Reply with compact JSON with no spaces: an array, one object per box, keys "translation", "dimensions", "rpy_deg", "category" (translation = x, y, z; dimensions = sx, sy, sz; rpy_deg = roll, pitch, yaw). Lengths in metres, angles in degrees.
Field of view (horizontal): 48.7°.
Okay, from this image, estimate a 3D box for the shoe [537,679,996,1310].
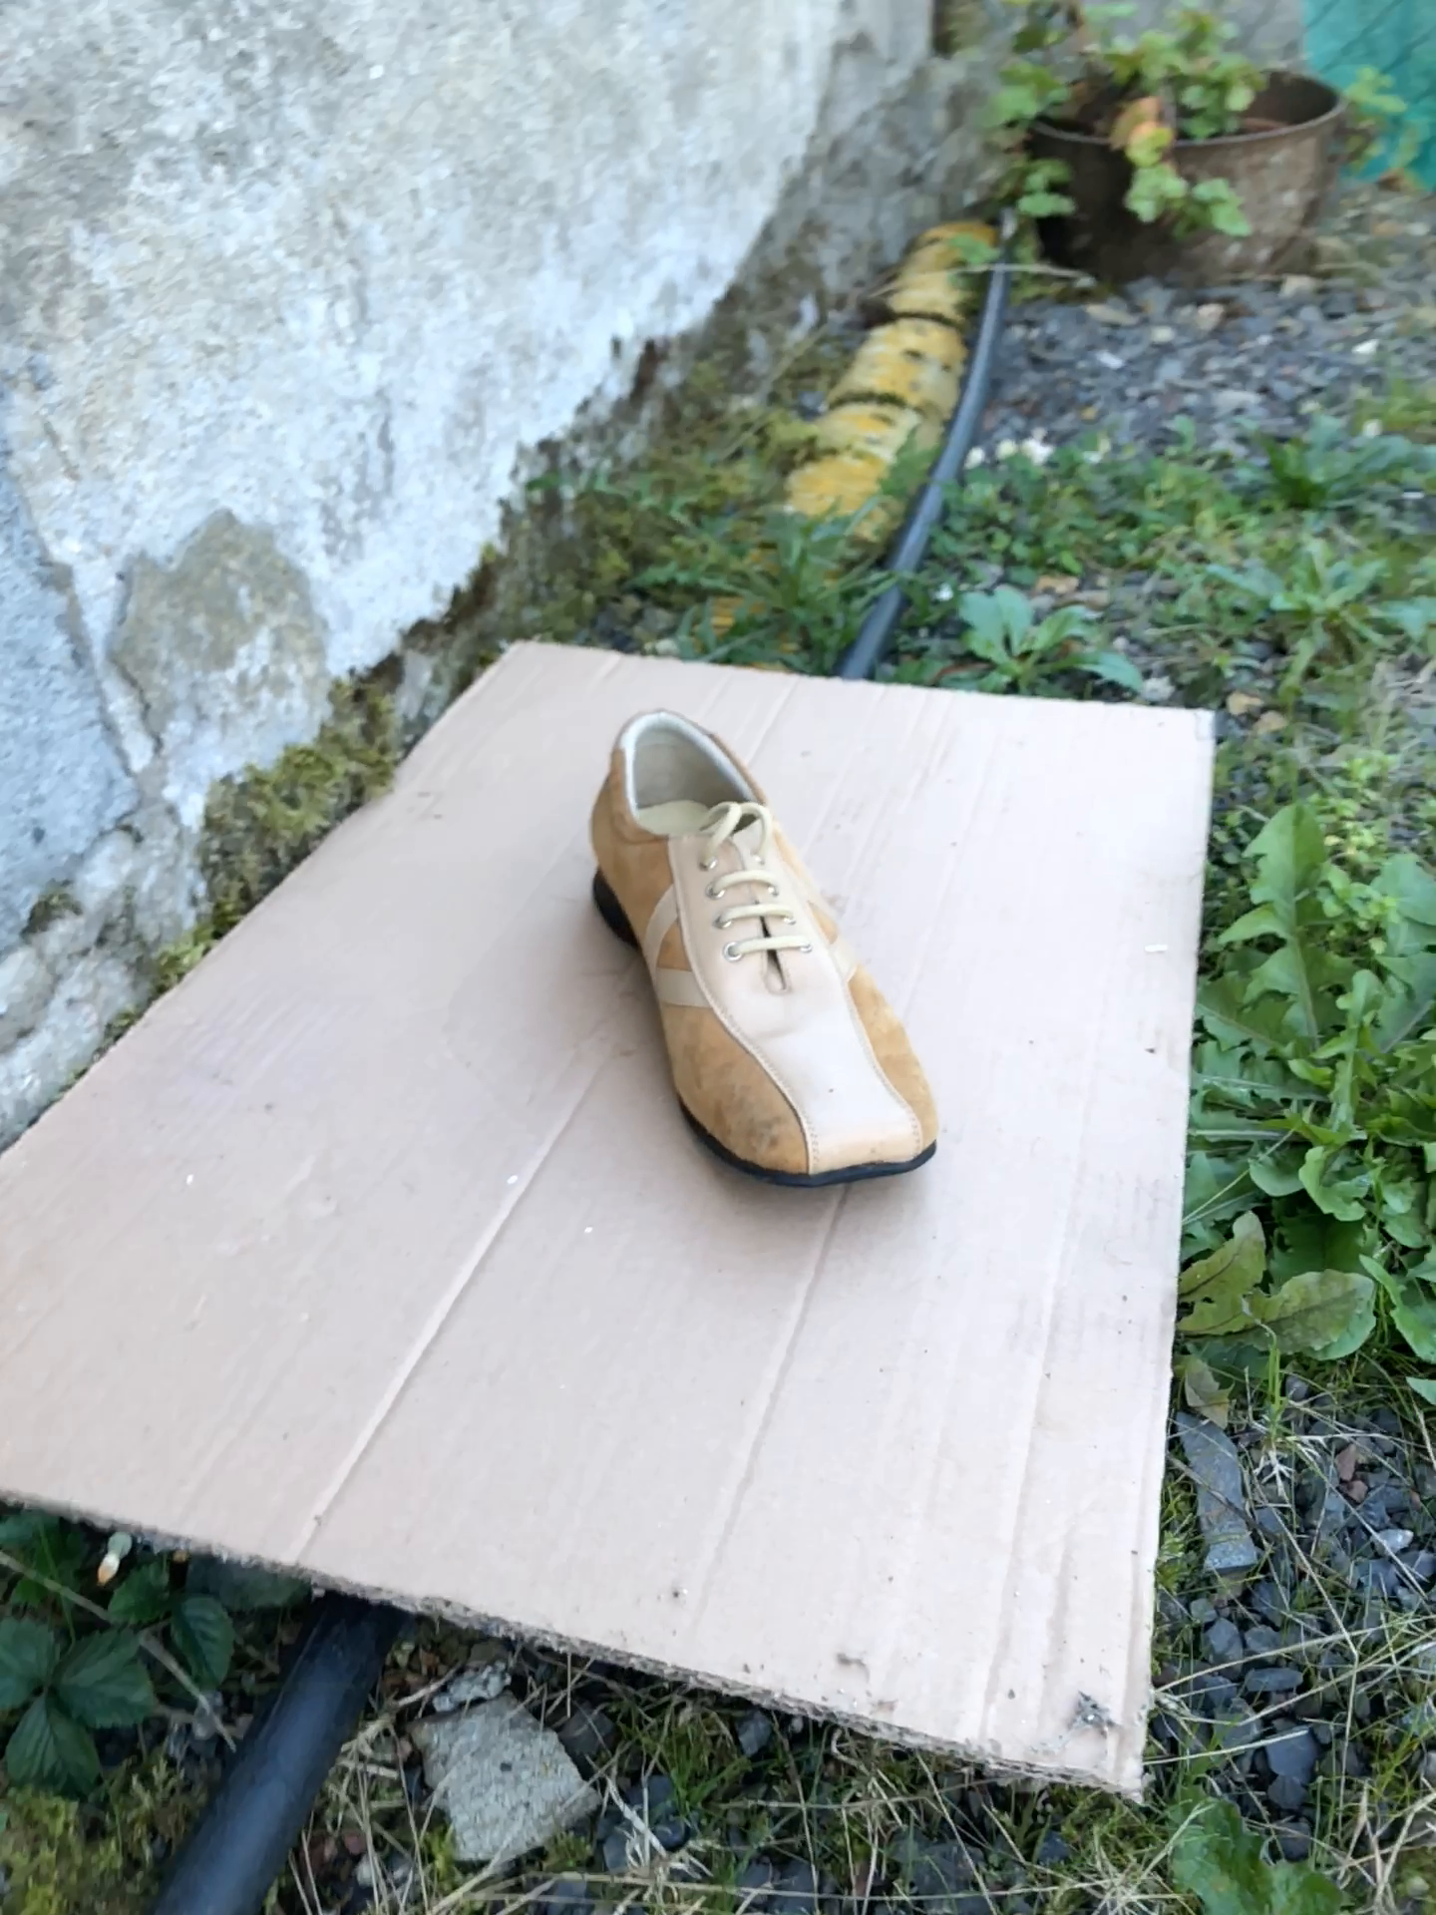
[{"translation":[0.008,-0.003,0.626],"dimensions":[0.100,0.080,0.271],"rpy_deg":[-14,39,-9],"category":"shoe"}]
